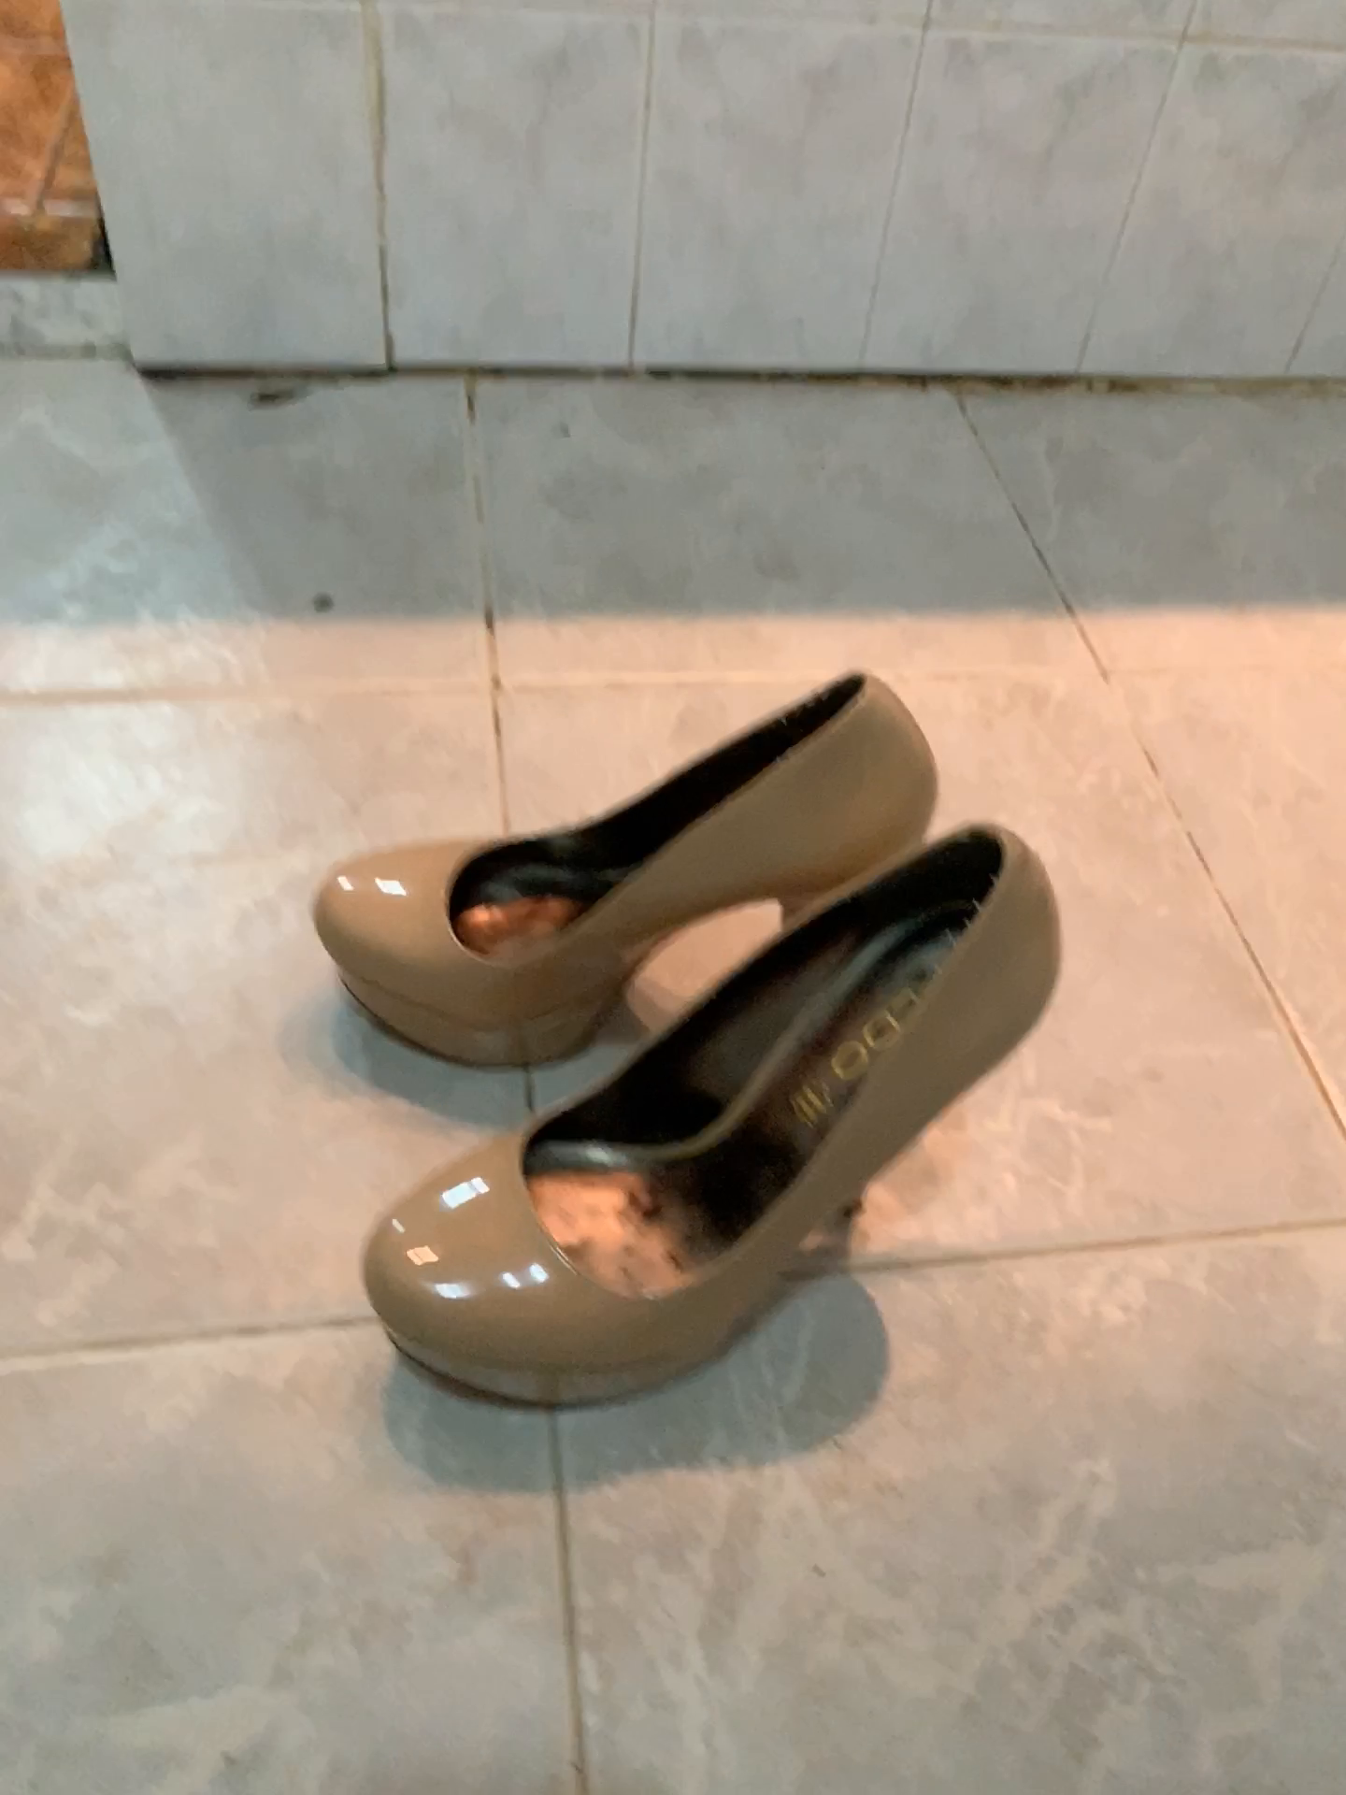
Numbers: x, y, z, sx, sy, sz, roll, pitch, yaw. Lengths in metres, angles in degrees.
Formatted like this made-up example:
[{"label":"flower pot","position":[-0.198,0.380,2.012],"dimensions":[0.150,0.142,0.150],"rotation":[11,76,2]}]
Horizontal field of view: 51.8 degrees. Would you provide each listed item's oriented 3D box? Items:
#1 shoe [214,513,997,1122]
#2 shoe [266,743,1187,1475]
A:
[{"label":"shoe","position":[-0.023,-0.018,0.465],"dimensions":[0.210,0.176,0.087],"rotation":[5,48,-3]},{"label":"shoe","position":[0.007,0.062,0.401],"dimensions":[0.210,0.166,0.087],"rotation":[-11,51,-17]}]
